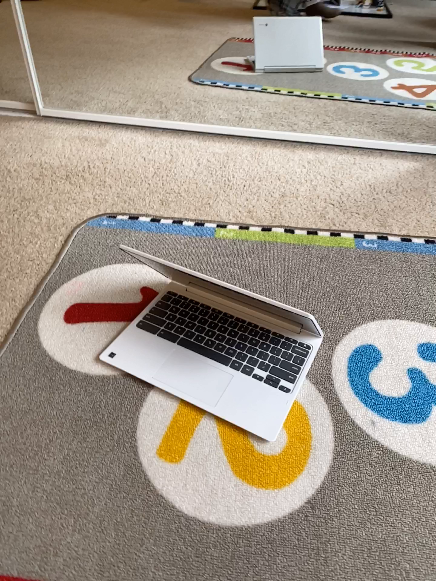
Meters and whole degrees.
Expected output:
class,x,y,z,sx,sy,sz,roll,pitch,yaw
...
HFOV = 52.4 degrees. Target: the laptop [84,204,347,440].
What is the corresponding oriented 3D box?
class,x,y,z,sx,sy,sz,roll,pitch,yaw
laptop,0.001,0.029,0.668,0.299,0.162,0.217,21,45,19
